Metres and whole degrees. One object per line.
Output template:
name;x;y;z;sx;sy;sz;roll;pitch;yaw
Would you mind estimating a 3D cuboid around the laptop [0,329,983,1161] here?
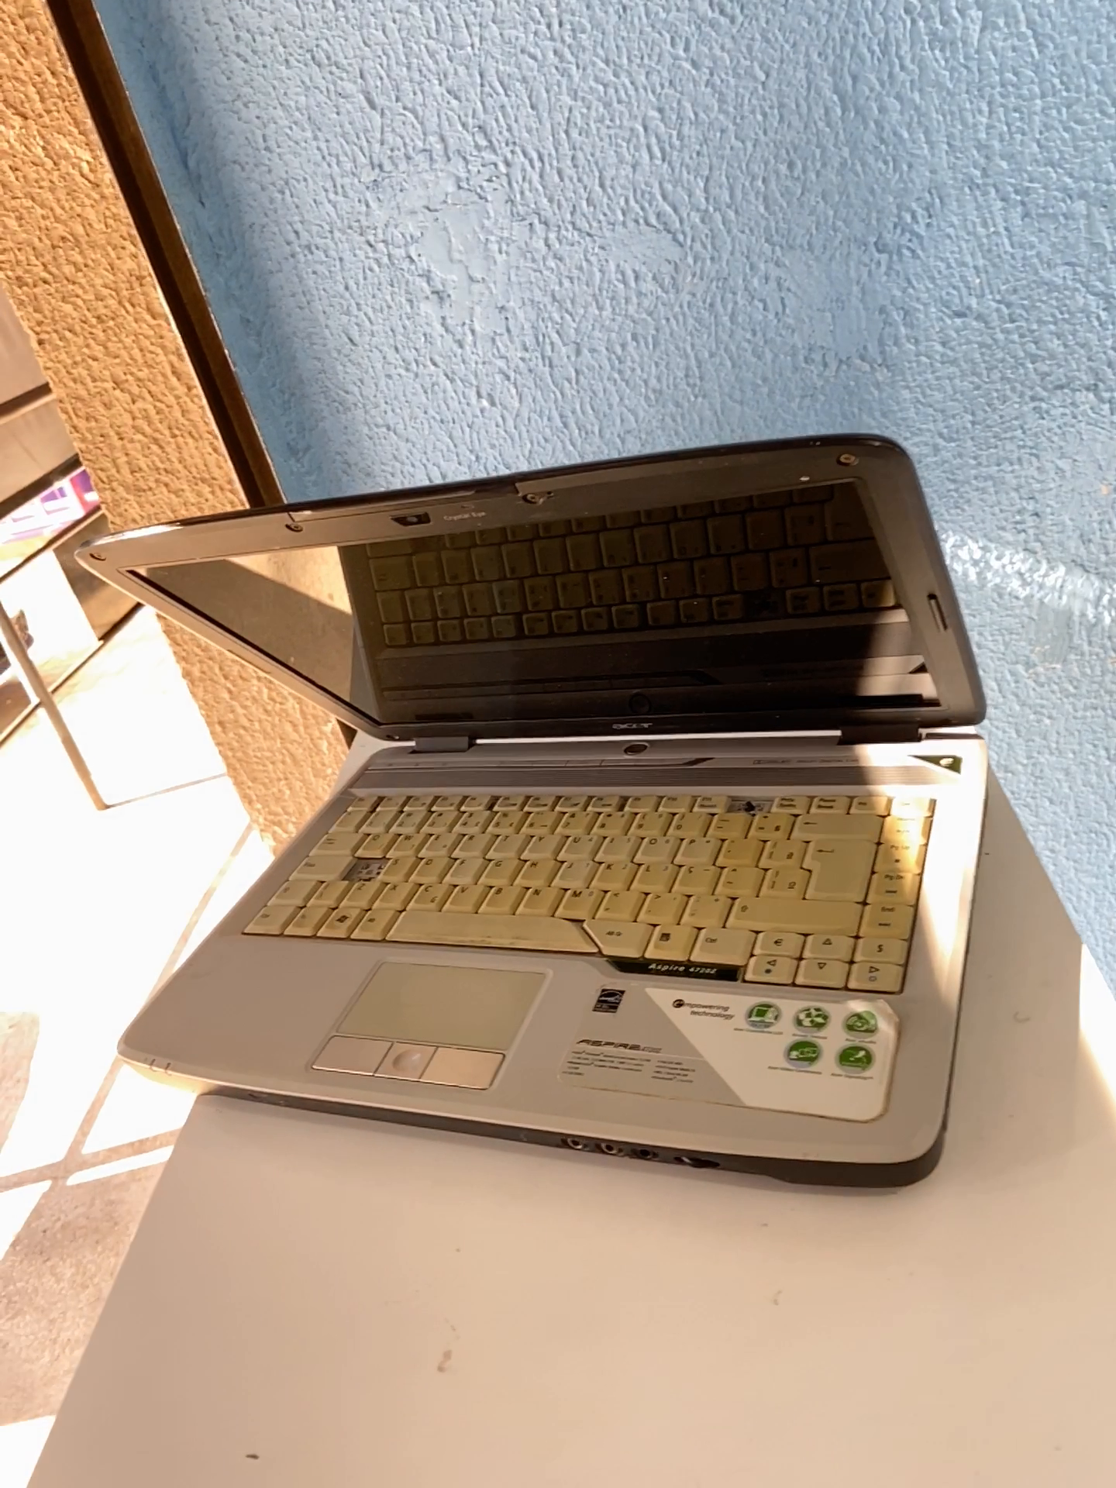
laptop;-0.020;-0.013;0.457;0.328;0.180;0.226;-2;32;27
